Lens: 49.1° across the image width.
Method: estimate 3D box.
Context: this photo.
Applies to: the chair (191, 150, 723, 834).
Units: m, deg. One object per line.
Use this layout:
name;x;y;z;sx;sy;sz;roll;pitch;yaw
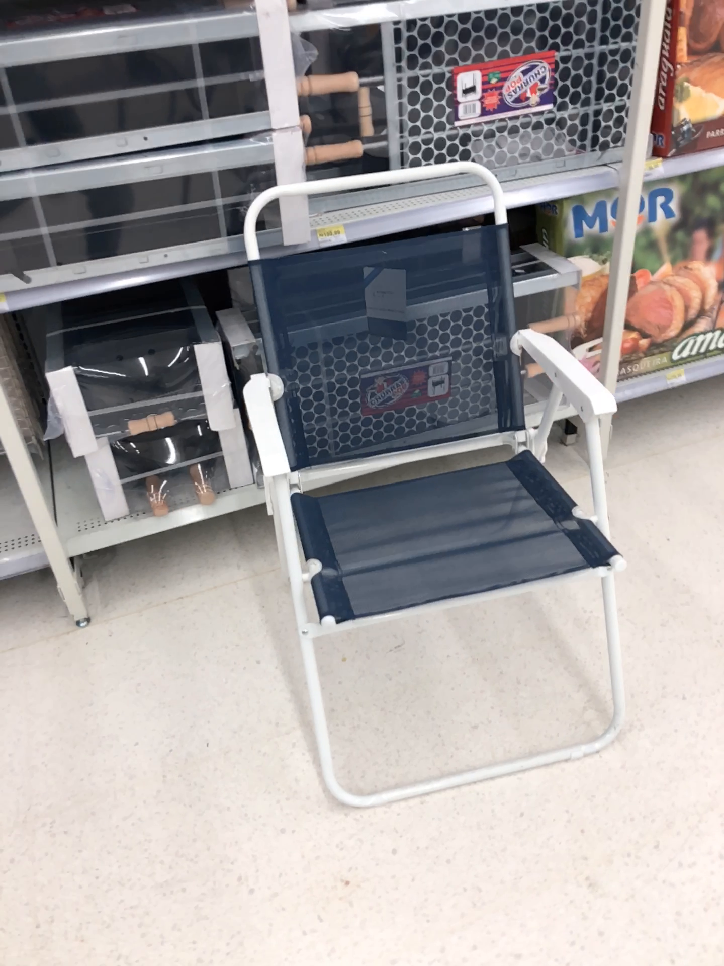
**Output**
chair;0.092;-0.020;1.234;0.540;0.735;0.654;-11;37;-8
